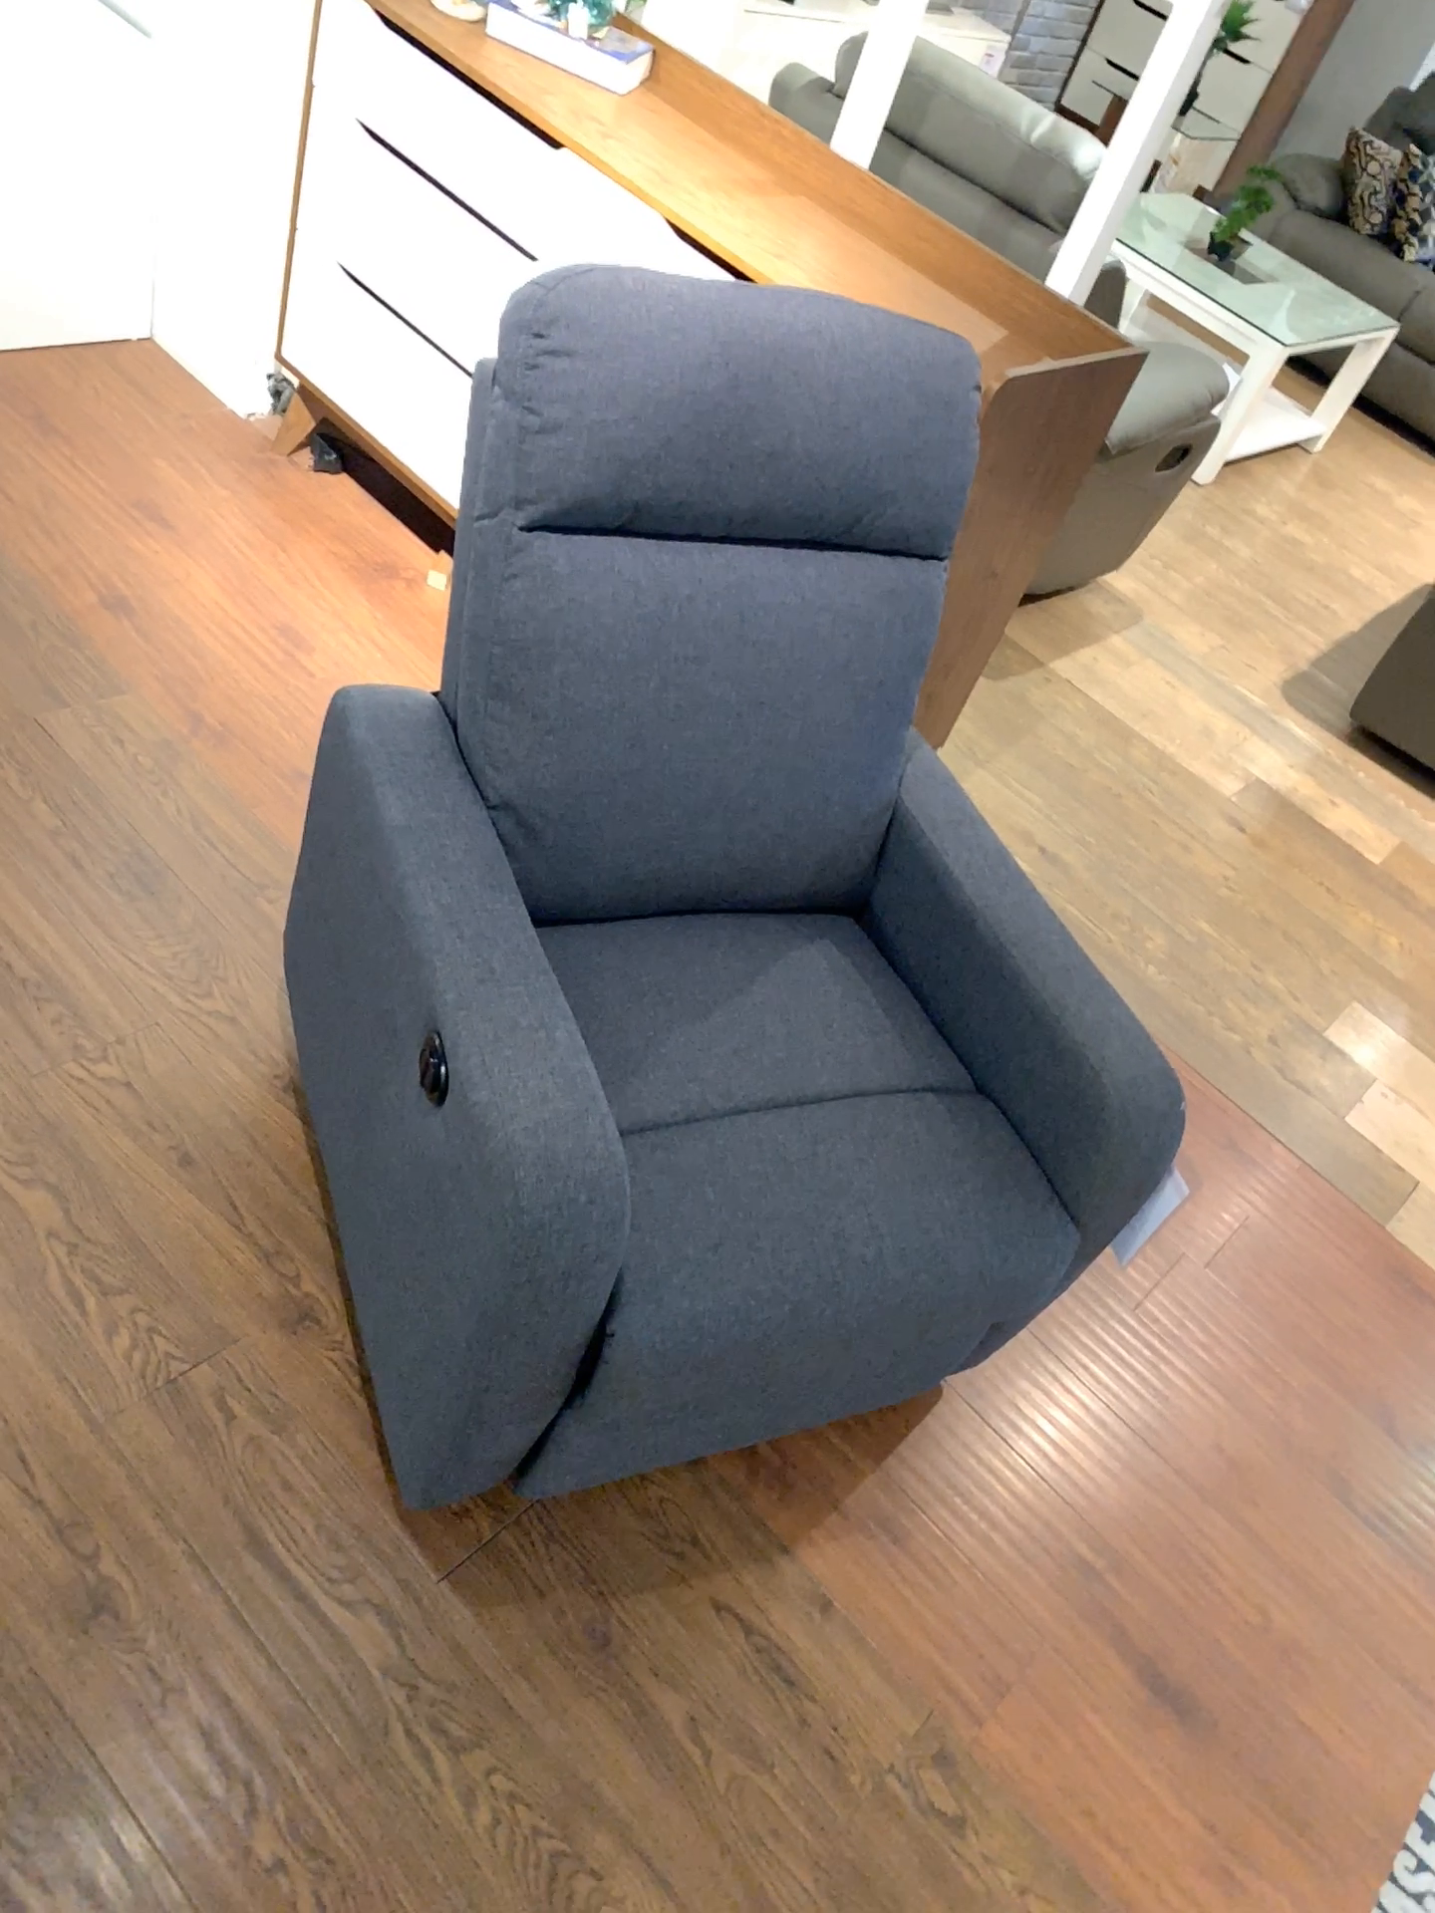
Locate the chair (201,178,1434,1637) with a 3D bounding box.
[{"bbox_3d":[0.056,-0.047,1.528,0.932,0.966,0.882,-5,49,-29],"label":"chair"}]
